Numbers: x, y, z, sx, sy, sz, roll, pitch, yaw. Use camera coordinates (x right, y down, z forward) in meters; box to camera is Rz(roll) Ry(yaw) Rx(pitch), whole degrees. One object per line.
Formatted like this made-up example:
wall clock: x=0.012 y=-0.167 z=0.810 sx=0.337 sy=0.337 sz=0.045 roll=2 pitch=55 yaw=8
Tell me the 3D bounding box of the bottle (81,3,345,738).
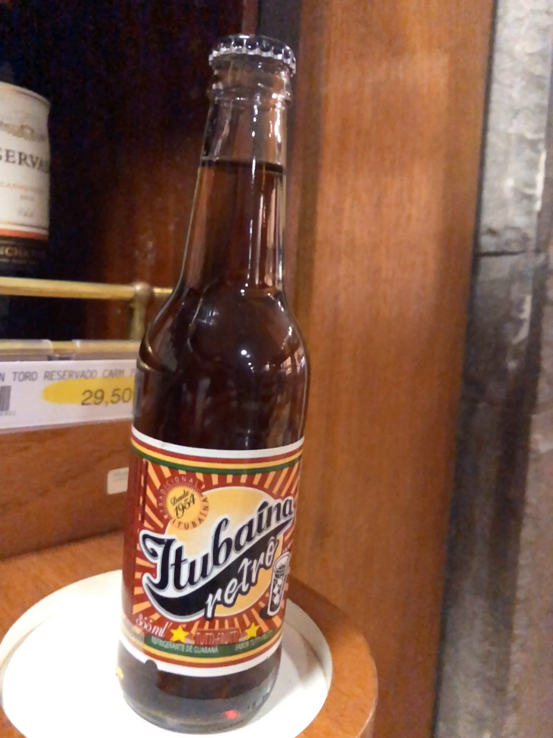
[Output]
bottle: x=-0.030 y=0.010 z=0.245 sx=0.070 sy=0.250 sz=0.070 roll=3 pitch=5 yaw=0
